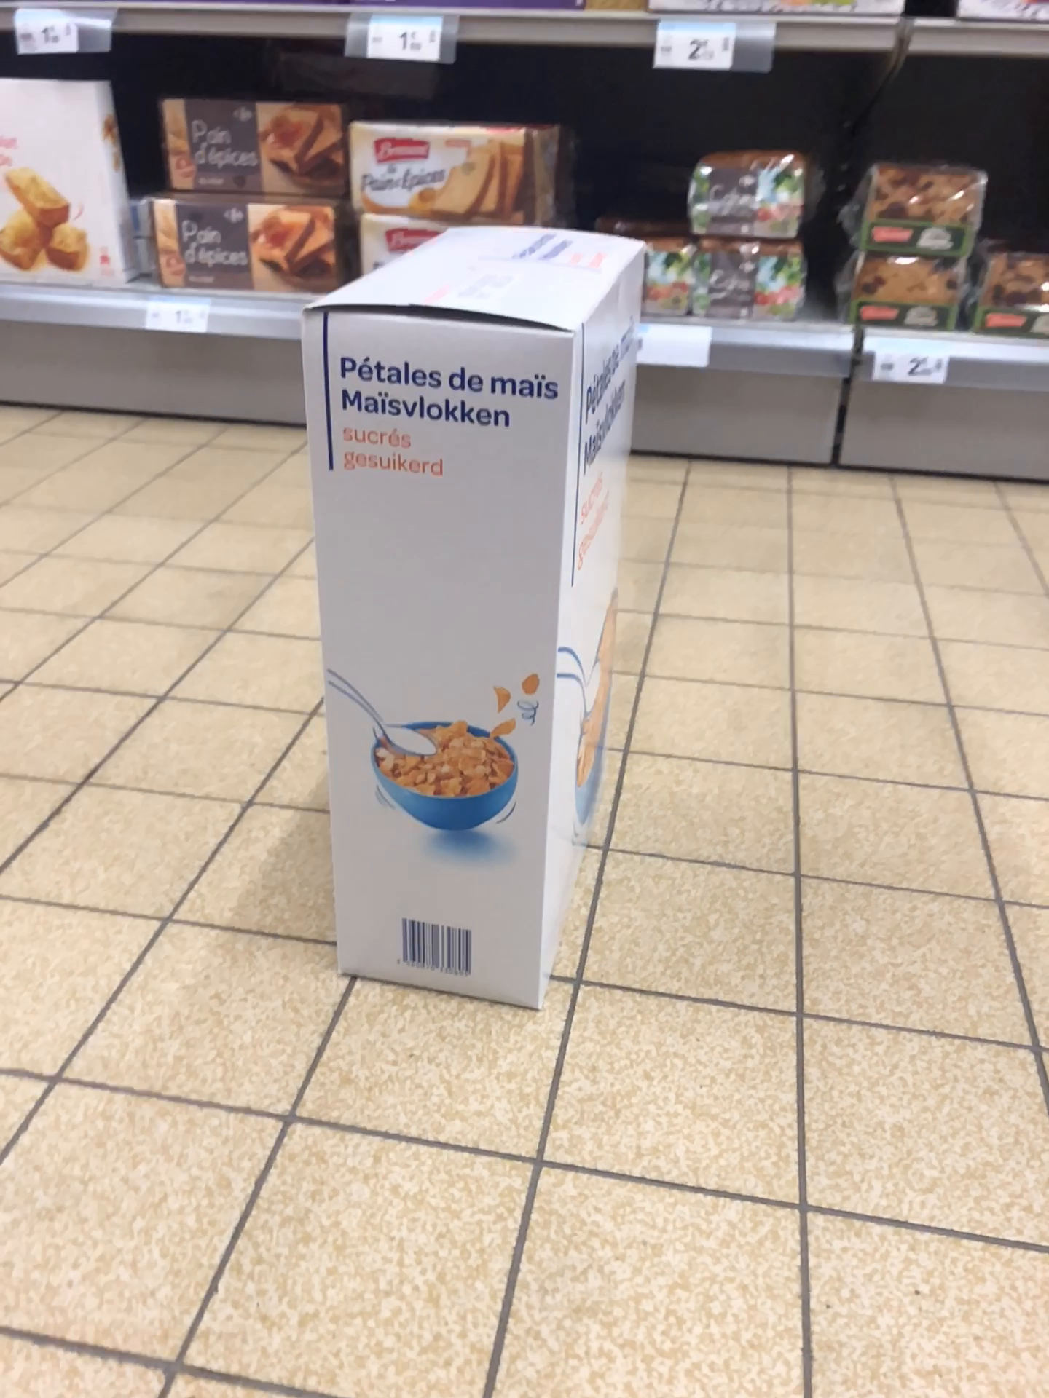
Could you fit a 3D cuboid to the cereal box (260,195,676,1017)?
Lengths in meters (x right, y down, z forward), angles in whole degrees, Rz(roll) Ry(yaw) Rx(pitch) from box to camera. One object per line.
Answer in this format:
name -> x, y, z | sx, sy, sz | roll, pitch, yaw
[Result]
cereal box -> -0.011, -0.050, 0.514 | 0.110, 0.298, 0.201 | 7, 29, 11
